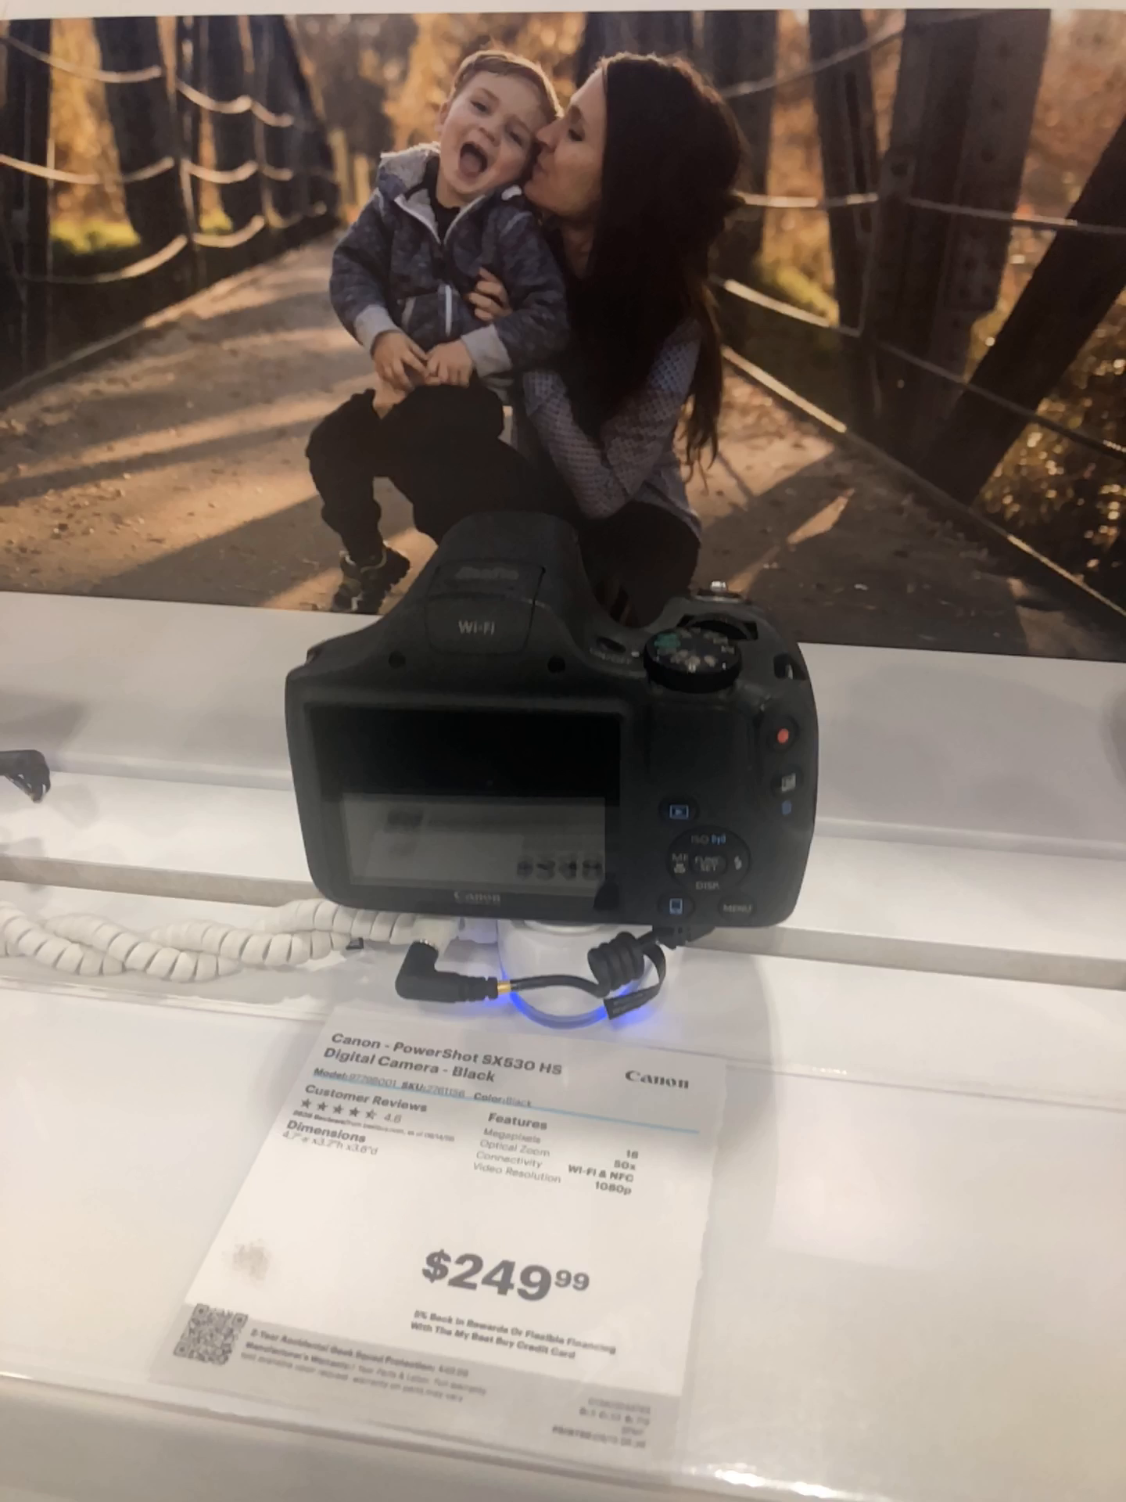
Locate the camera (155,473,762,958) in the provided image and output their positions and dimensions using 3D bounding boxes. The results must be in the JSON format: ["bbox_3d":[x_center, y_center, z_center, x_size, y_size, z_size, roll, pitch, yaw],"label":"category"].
[{"bbox_3d":[-0.016,-0.015,0.309,0.120,0.070,0.111,2,32,5],"label":"camera"}]
